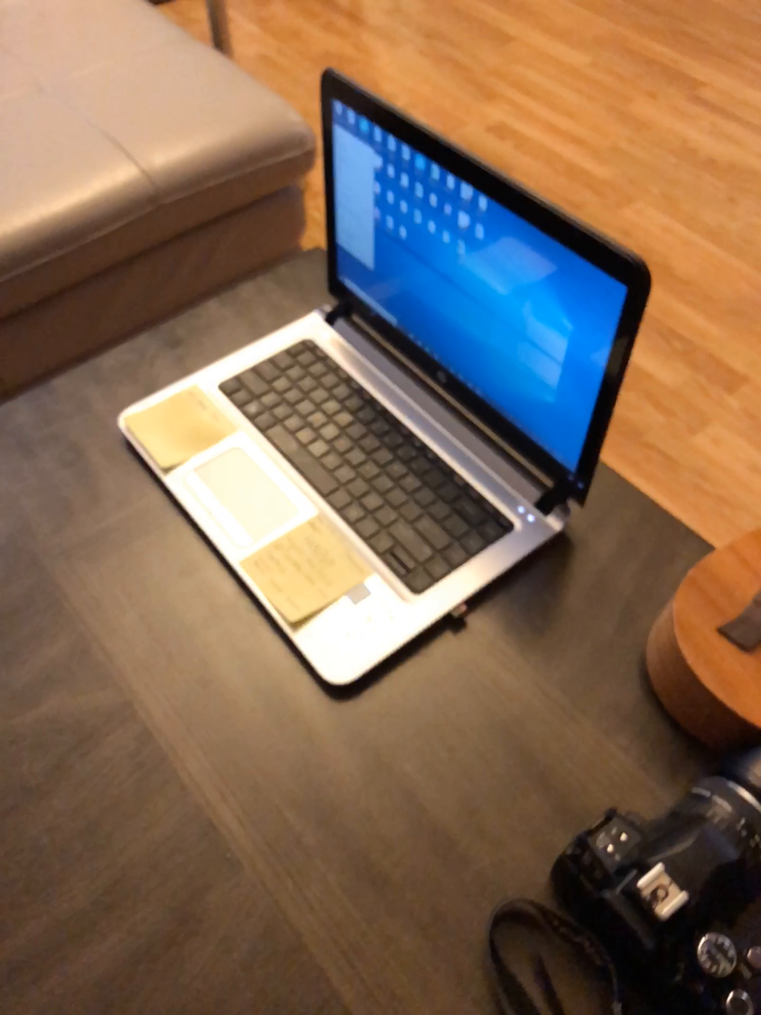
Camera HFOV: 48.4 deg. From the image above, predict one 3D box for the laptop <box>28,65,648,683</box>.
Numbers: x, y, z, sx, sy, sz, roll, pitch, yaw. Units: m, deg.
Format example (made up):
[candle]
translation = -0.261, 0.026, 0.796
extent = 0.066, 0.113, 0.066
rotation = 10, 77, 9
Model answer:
[laptop]
translation = -0.036, -0.109, 0.613
extent = 0.247, 0.217, 0.318
rotation = -34, 59, -20
